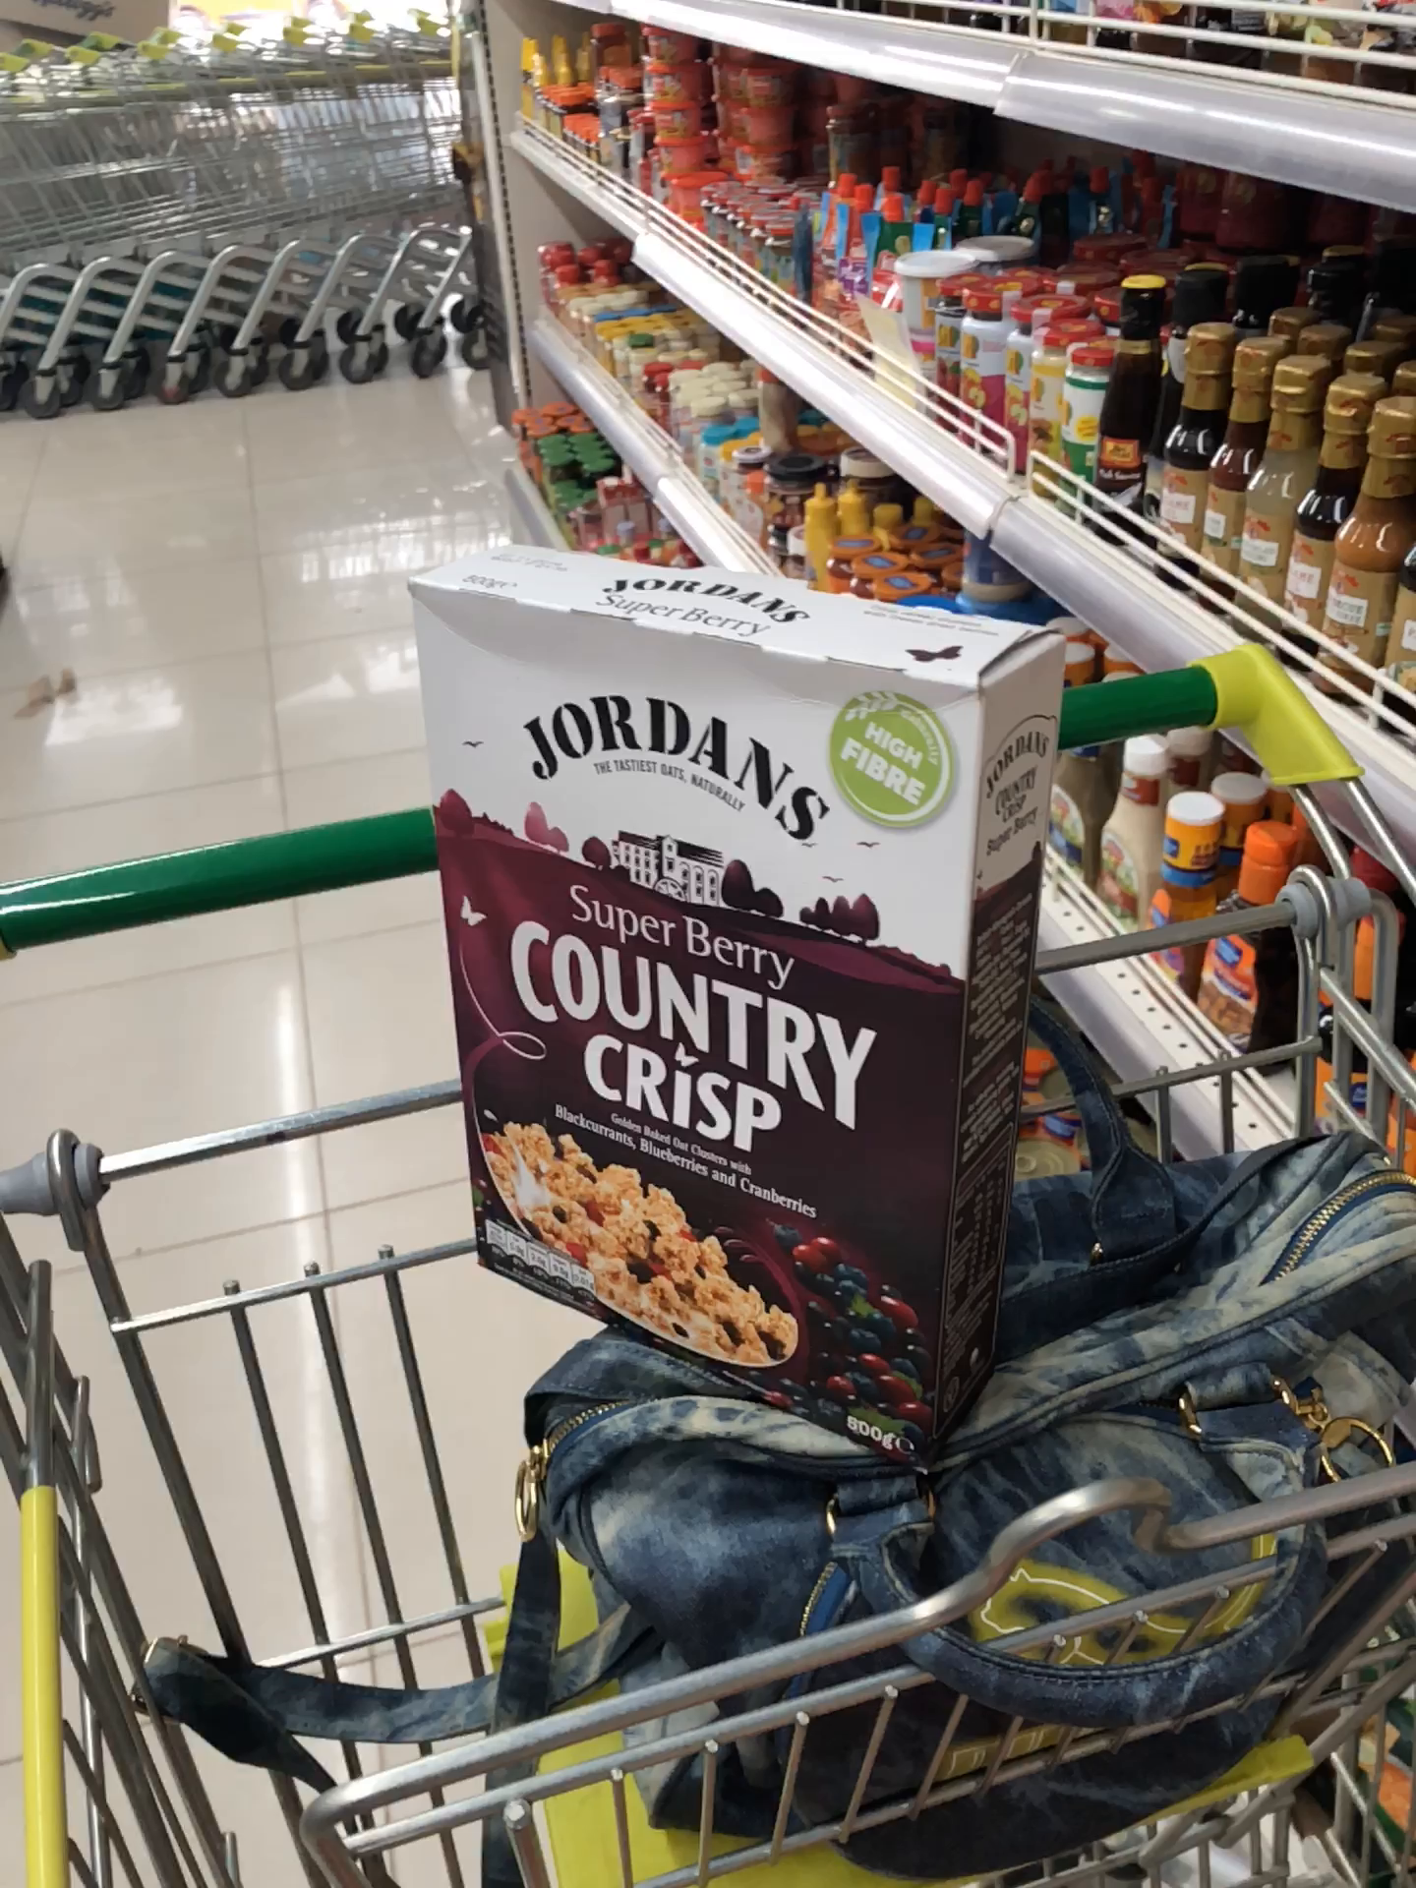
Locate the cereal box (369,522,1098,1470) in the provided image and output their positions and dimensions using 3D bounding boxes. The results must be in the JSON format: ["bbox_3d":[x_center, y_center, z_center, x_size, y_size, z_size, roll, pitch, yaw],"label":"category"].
[{"bbox_3d":[0.001,0.013,0.443,0.180,0.229,0.050,16,32,27],"label":"cereal box"}]
